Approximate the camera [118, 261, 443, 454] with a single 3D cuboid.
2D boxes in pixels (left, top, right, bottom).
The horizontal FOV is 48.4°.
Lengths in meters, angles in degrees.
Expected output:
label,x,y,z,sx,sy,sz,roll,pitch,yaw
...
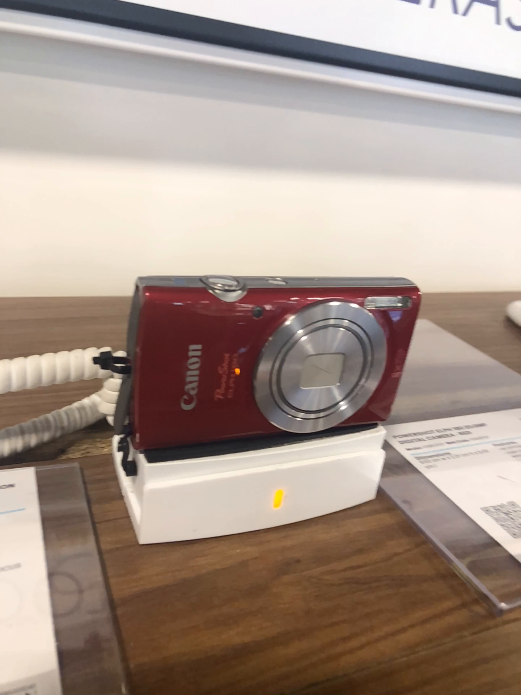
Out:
label,x,y,z,sx,sy,sz,roll,pitch,yaw
camera,0.006,0.001,0.188,0.097,0.051,0.023,-3,29,-24
